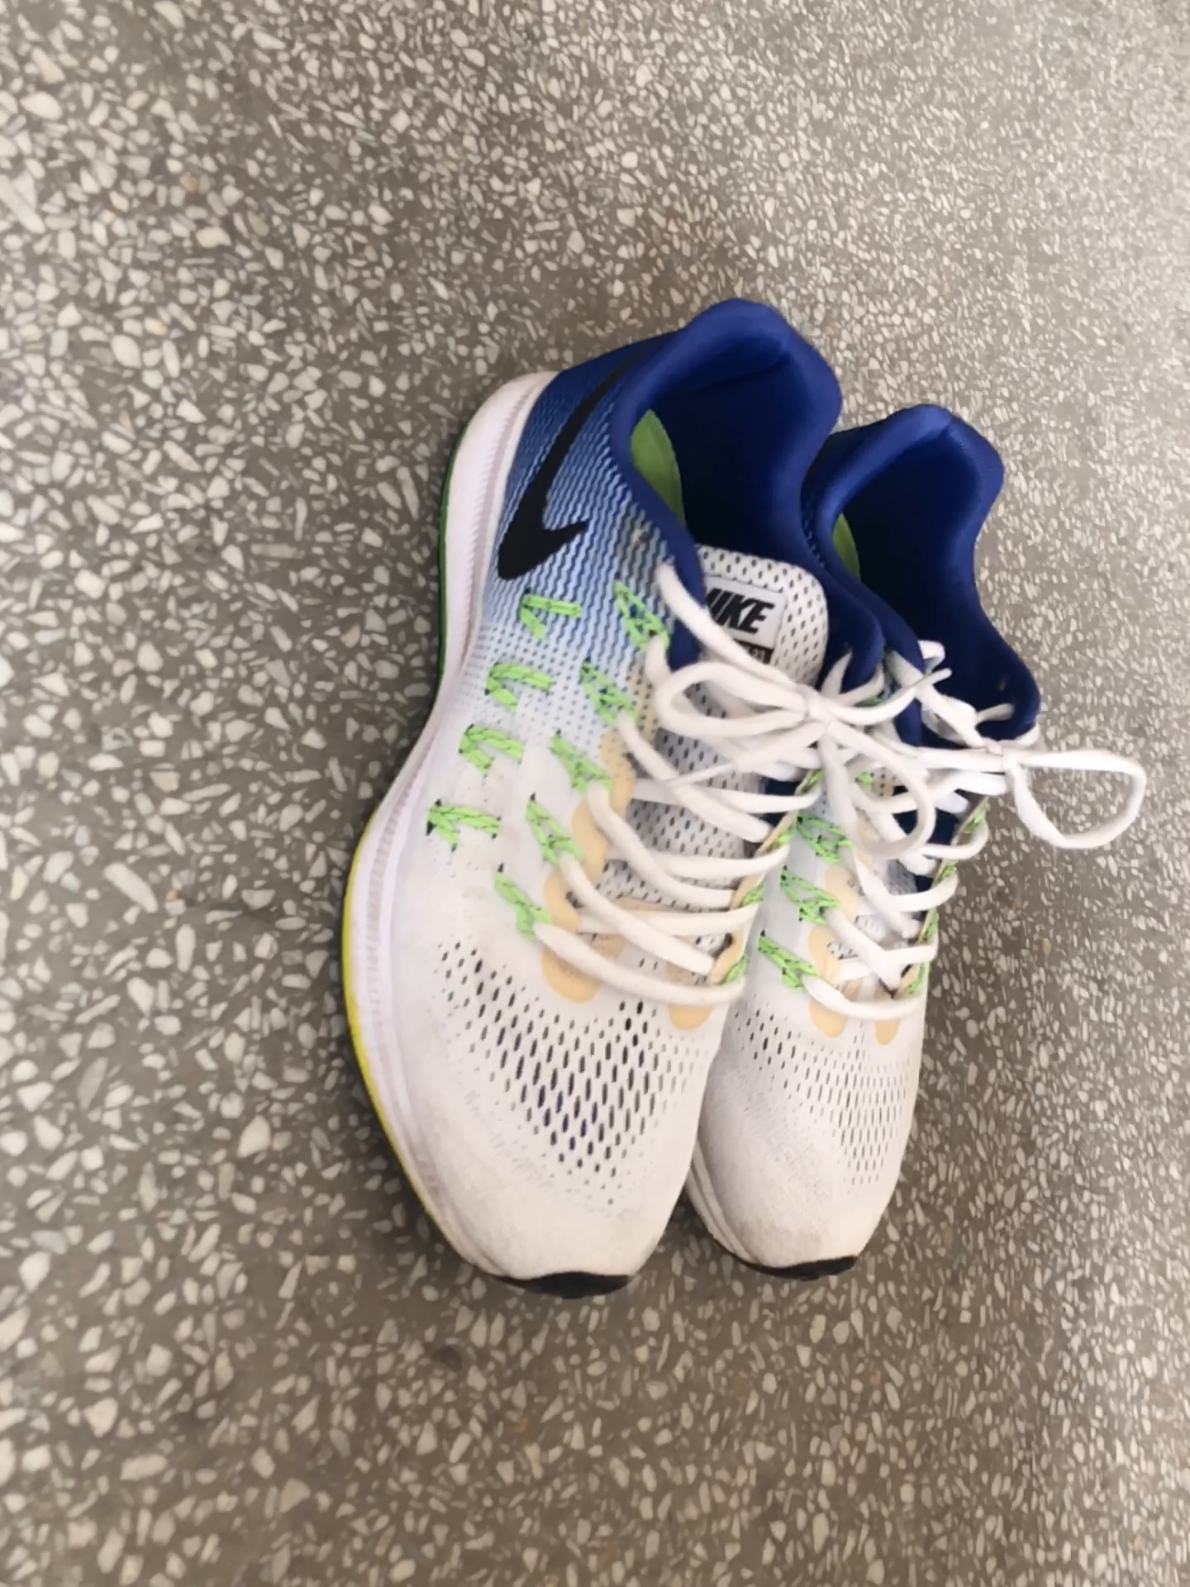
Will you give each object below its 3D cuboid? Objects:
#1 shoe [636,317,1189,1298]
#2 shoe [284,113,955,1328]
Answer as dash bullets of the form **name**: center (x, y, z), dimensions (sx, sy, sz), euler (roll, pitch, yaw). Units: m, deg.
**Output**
- **shoe**: center (0.093, 0.013, 0.427), dimensions (0.112, 0.114, 0.275), euler (15, 67, -37)
- **shoe**: center (0.007, -0.011, 0.359), dimensions (0.113, 0.114, 0.282), euler (16, 66, -37)
